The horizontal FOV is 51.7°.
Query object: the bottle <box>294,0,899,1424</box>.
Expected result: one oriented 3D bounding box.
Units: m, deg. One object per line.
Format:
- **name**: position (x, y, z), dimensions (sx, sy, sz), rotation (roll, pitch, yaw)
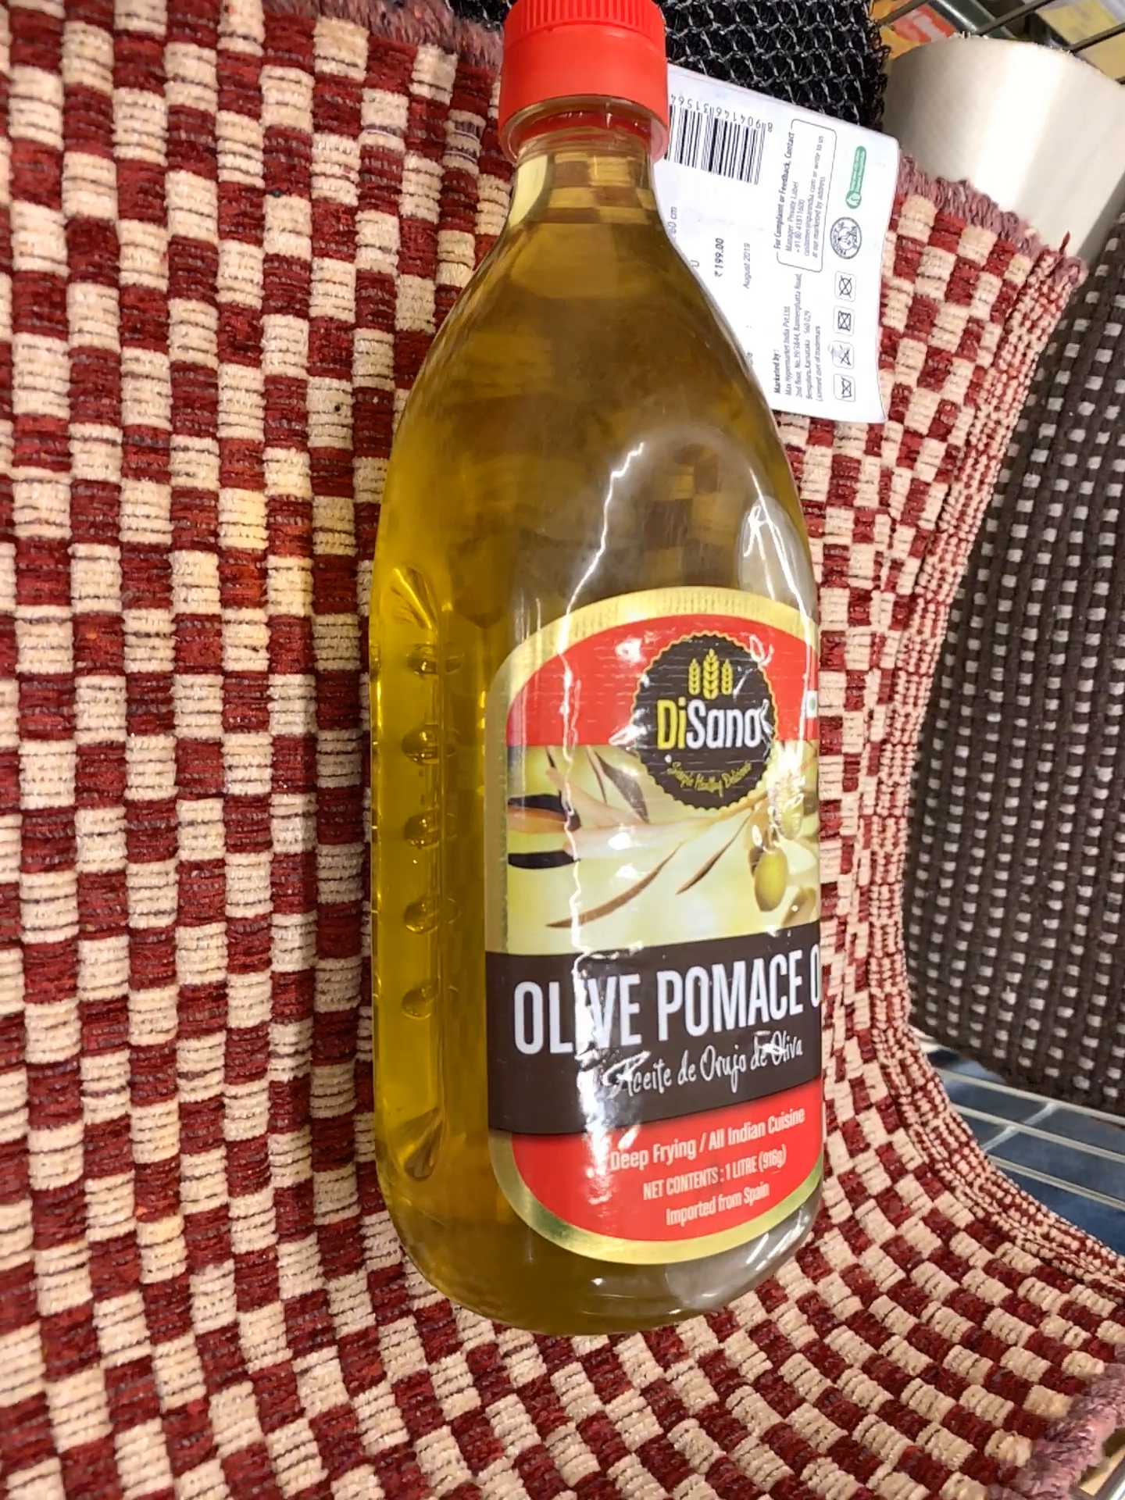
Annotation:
- **bottle**: position (0.005, -0.011, 0.218), dimensions (0.080, 0.080, 0.210), rotation (-1, 91, -38)
